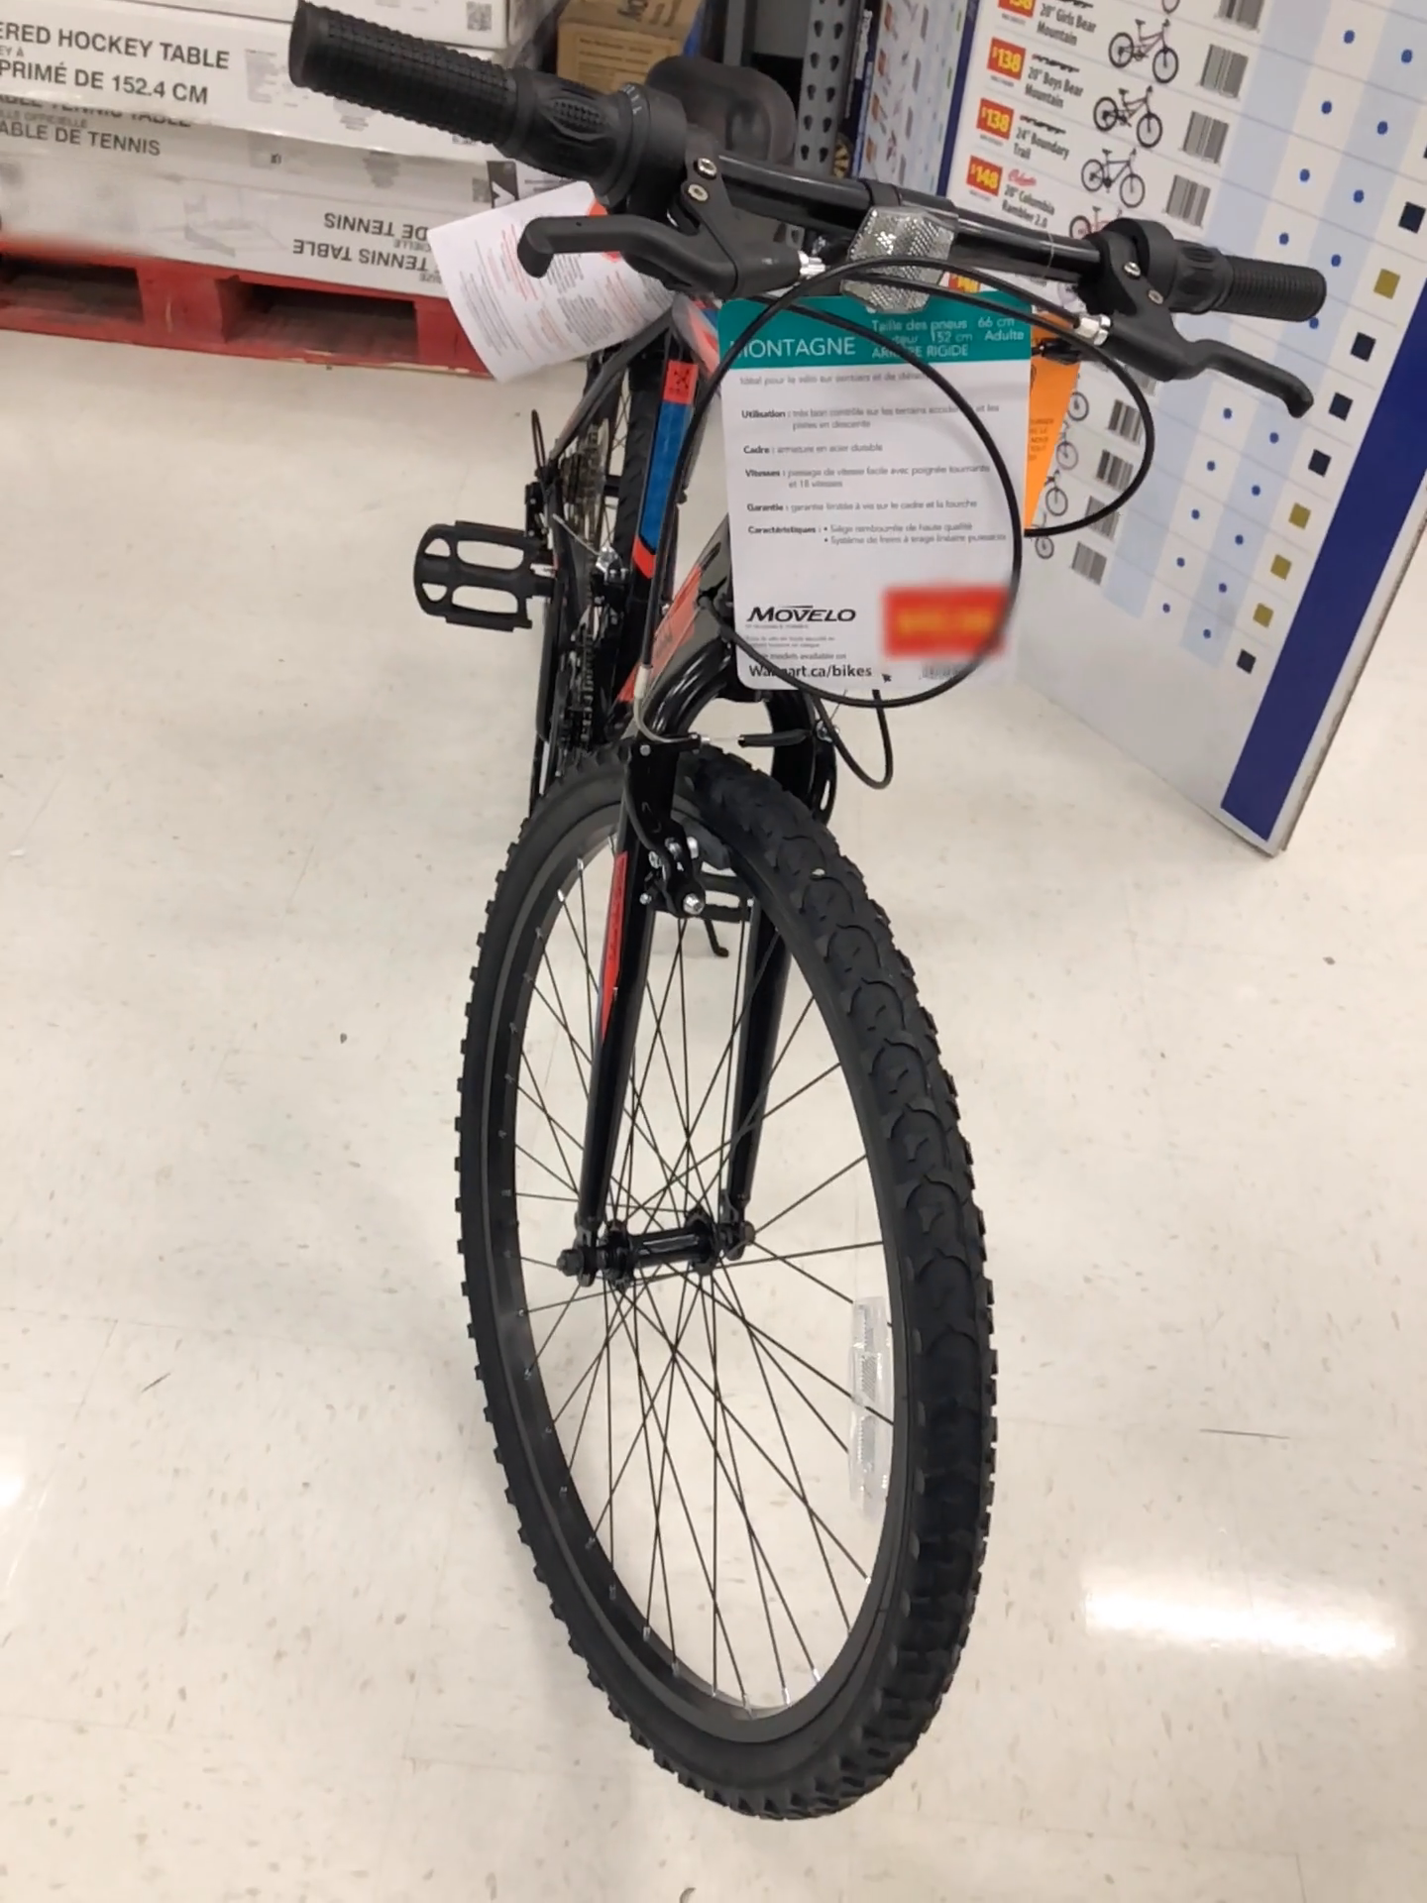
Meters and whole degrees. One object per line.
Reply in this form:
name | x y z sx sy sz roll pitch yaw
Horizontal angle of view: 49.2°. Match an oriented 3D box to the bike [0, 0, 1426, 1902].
bike | -0.009 -0.186 1.091 0.559 0.942 1.293 0 42 -7
